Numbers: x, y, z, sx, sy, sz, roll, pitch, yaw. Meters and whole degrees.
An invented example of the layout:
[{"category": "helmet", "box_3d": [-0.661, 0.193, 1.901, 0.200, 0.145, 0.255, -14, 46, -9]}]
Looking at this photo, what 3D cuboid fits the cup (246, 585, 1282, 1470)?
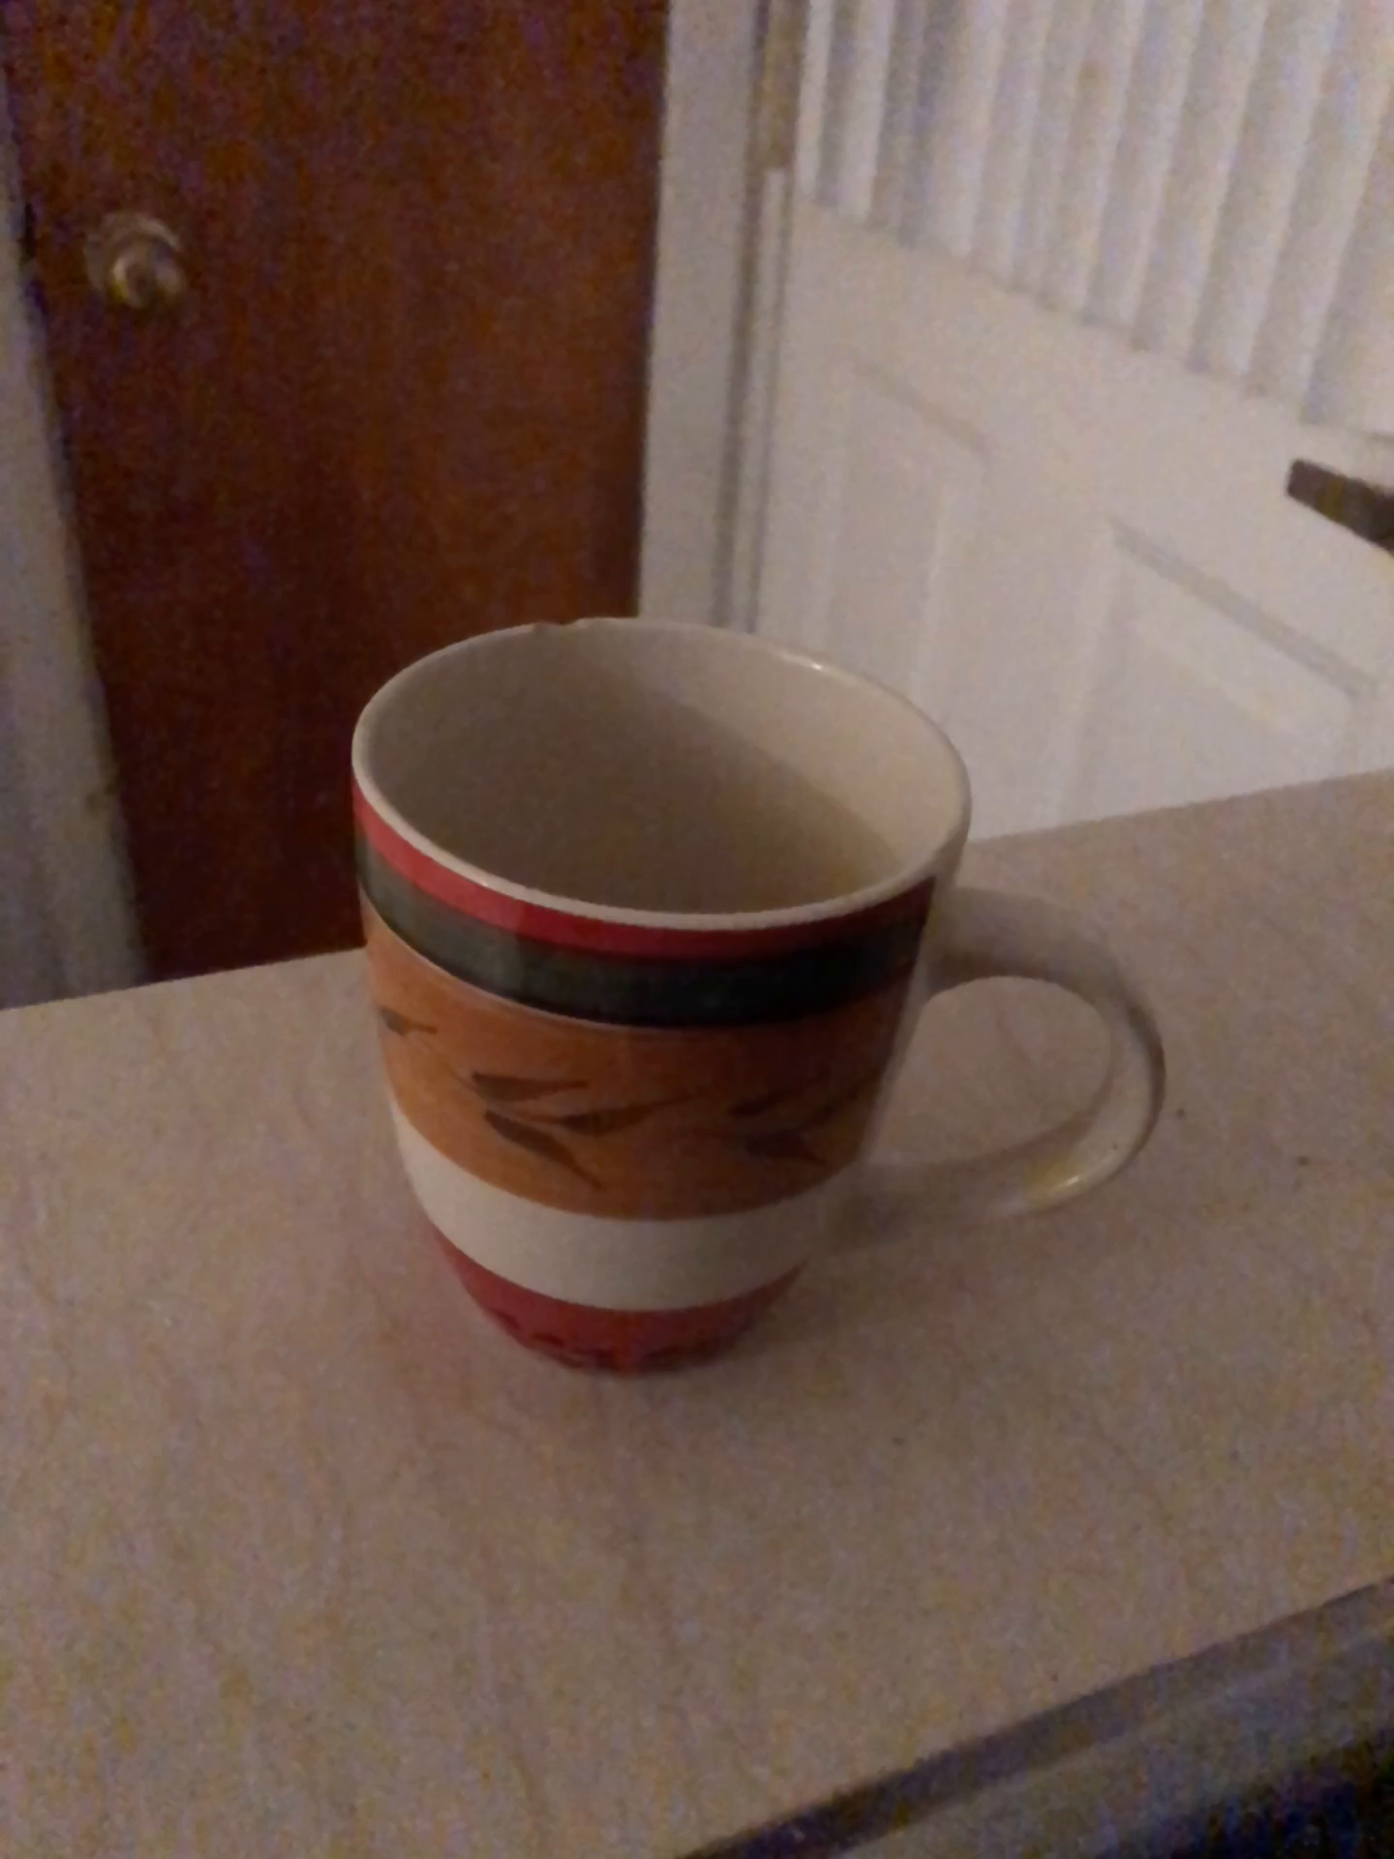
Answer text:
[{"category": "cup", "box_3d": [0.008, 0.014, 0.285, 0.143, 0.109, 0.101, 6, 34, 1]}]
